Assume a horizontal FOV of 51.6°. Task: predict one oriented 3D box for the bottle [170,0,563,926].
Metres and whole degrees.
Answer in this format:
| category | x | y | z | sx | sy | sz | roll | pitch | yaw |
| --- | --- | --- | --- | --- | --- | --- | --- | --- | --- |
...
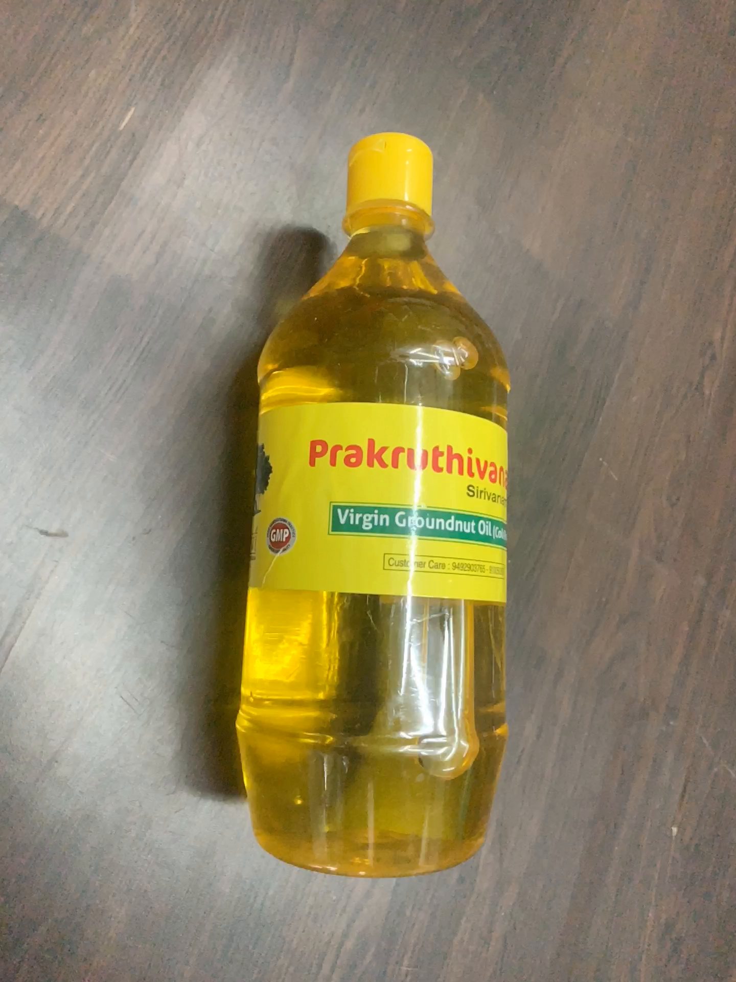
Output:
| category | x | y | z | sx | sy | sz | roll | pitch | yaw |
| --- | --- | --- | --- | --- | --- | --- | --- | --- | --- |
| bottle | 0.002 | -0.021 | 0.250 | 0.090 | 0.080 | 0.260 | 7 | 81 | -35 |
